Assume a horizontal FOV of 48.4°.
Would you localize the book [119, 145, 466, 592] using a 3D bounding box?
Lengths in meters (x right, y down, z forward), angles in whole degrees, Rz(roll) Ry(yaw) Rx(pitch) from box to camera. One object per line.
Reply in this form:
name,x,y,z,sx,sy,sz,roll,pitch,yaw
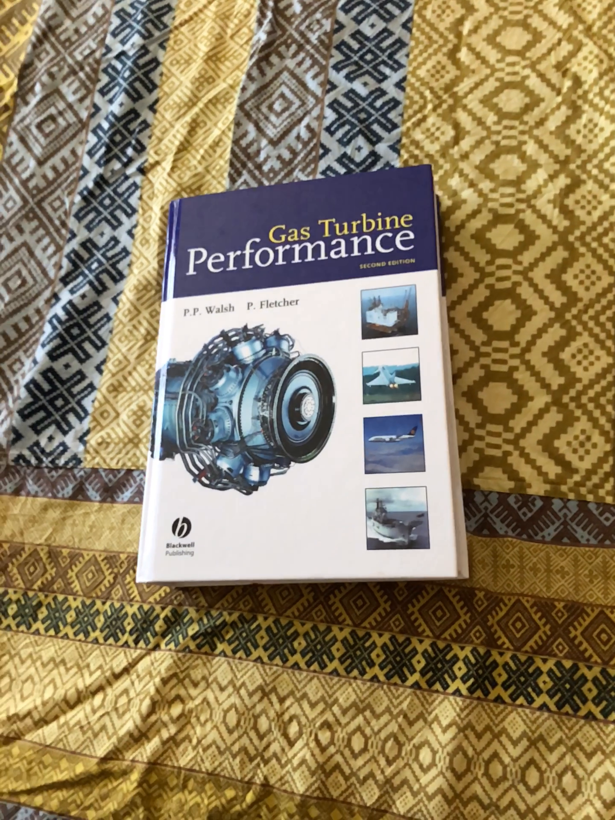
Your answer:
book,-0.007,-0.027,0.444,0.192,0.060,0.273,-4,69,12
